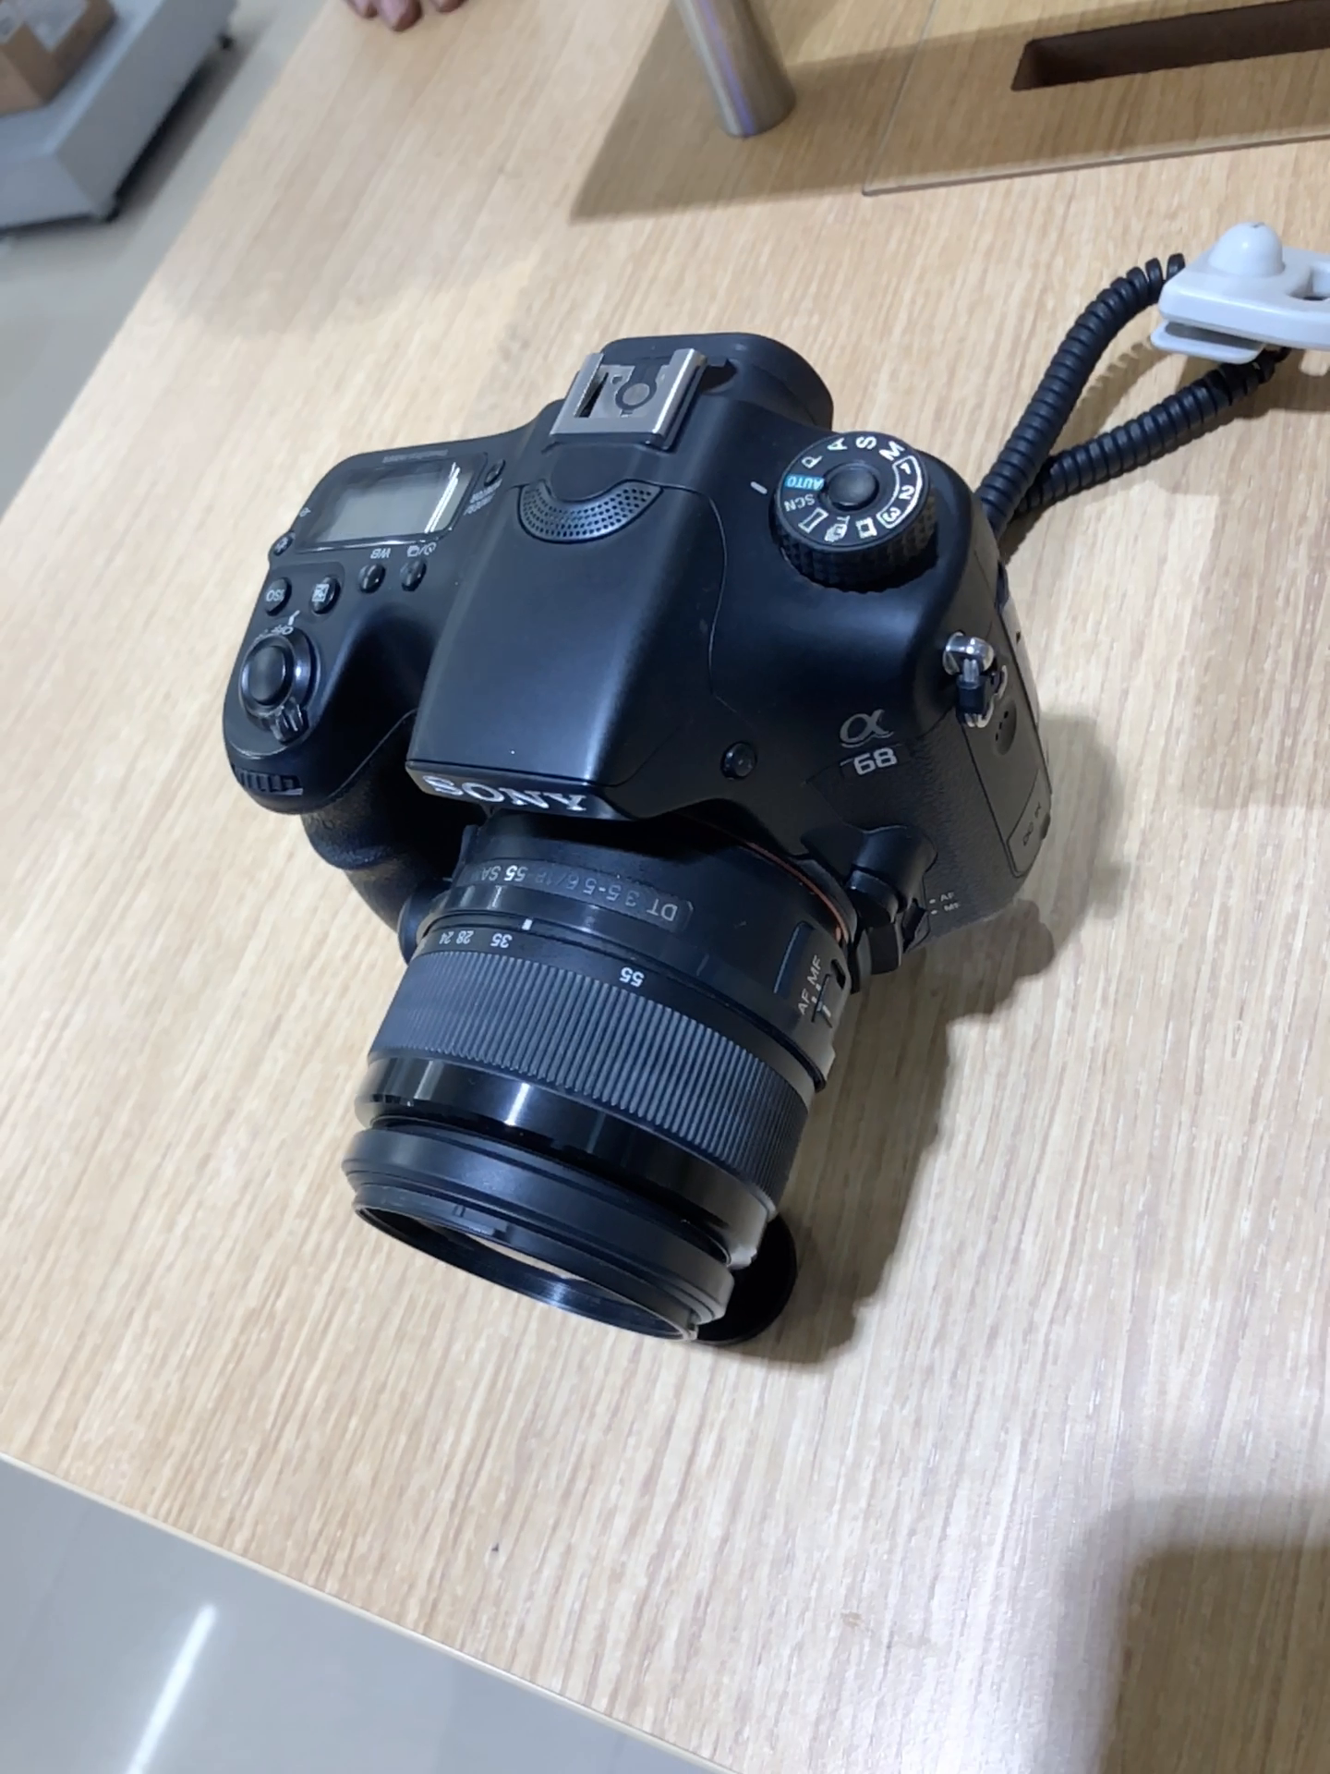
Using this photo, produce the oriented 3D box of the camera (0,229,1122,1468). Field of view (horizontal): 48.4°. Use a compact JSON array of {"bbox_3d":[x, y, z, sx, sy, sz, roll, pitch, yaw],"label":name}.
[{"bbox_3d":[-0.023,-0.010,0.216,0.140,0.080,0.130,7,64,29],"label":"camera"}]
